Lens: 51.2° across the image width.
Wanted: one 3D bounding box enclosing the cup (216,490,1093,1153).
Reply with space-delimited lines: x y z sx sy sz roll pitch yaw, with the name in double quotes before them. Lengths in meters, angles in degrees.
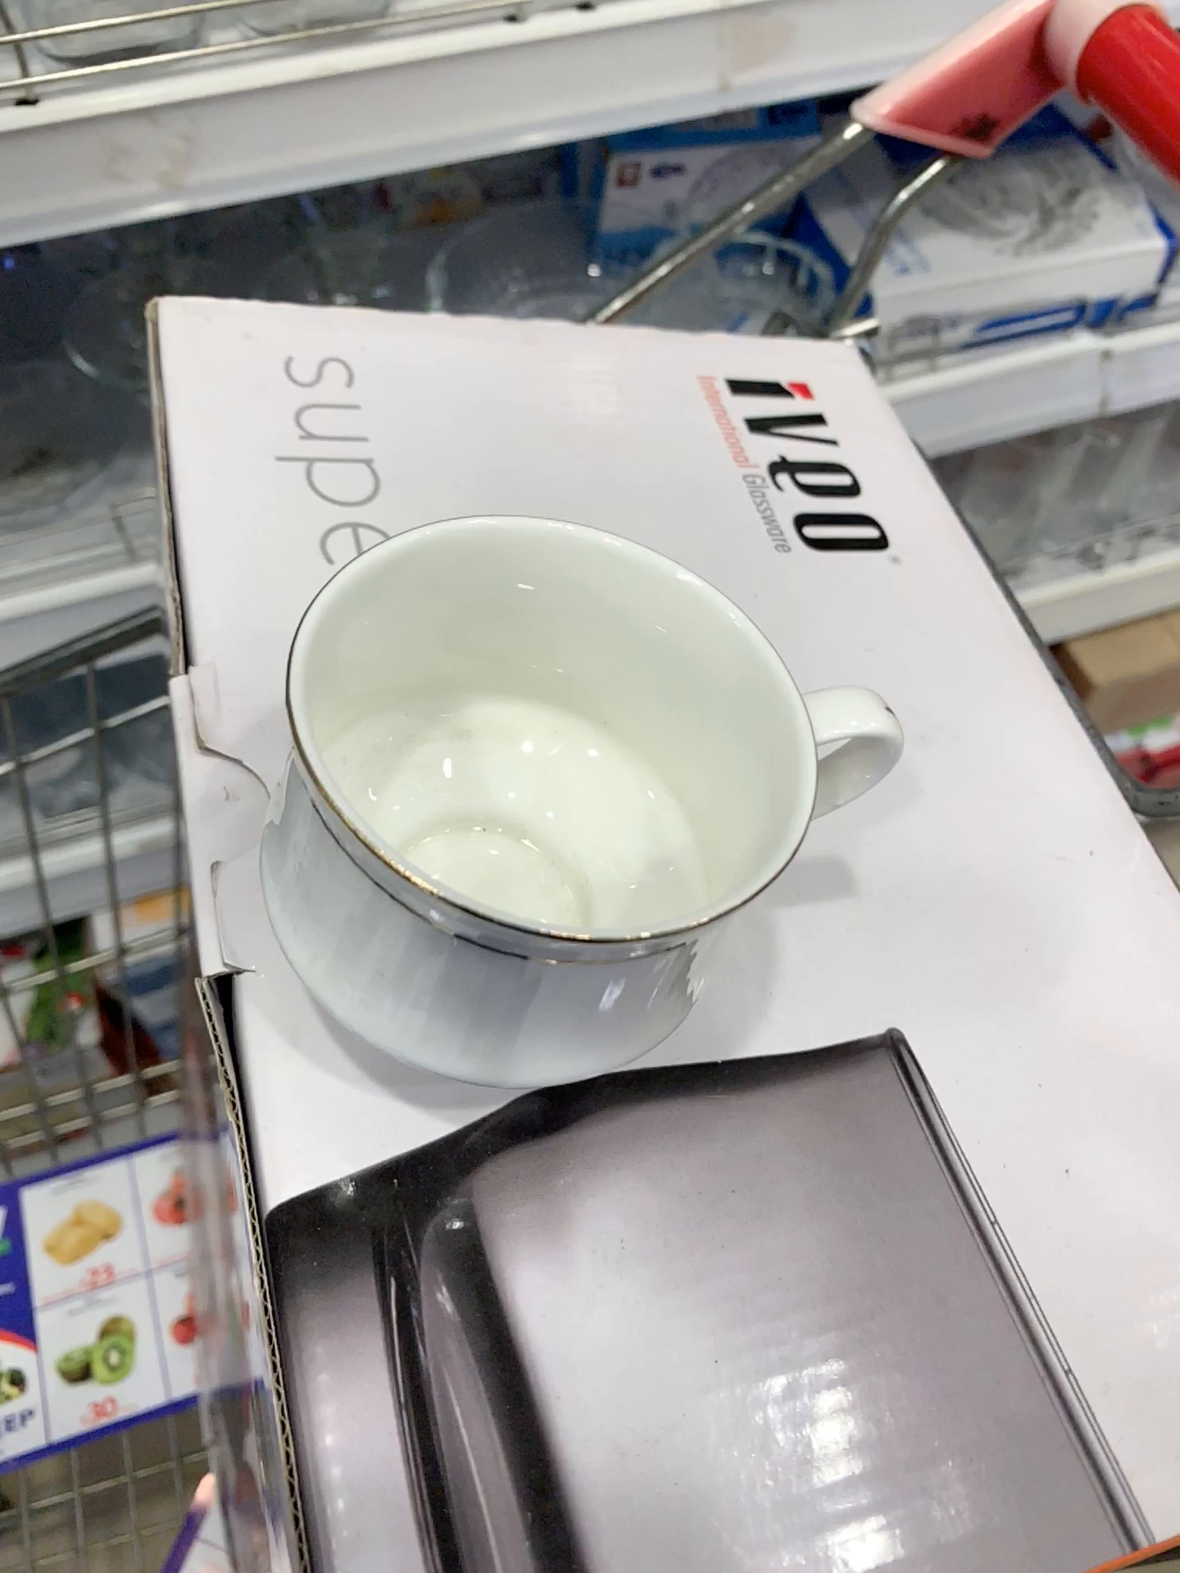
"cup" 0.004 0.002 0.164 0.090 0.050 0.060 -4 56 -26
